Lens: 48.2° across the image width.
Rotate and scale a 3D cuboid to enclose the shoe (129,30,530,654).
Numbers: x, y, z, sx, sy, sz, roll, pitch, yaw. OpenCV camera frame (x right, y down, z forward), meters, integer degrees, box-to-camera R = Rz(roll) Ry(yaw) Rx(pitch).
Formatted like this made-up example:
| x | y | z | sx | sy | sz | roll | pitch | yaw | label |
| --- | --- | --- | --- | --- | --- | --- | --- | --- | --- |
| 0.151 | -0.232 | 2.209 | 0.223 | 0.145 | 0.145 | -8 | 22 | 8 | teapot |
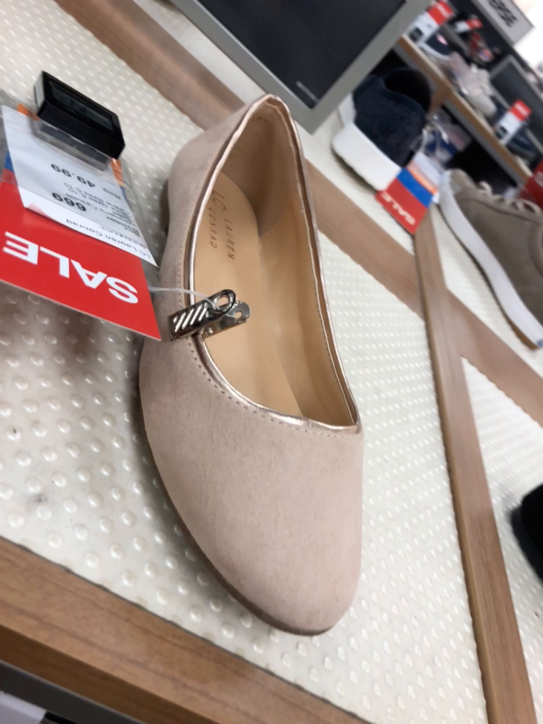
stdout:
| x | y | z | sx | sy | sz | roll | pitch | yaw | label |
| --- | --- | --- | --- | --- | --- | --- | --- | --- | --- |
| 0.002 | -0.024 | 0.229 | 0.085 | 0.063 | 0.228 | 24 | 40 | -34 | shoe |
